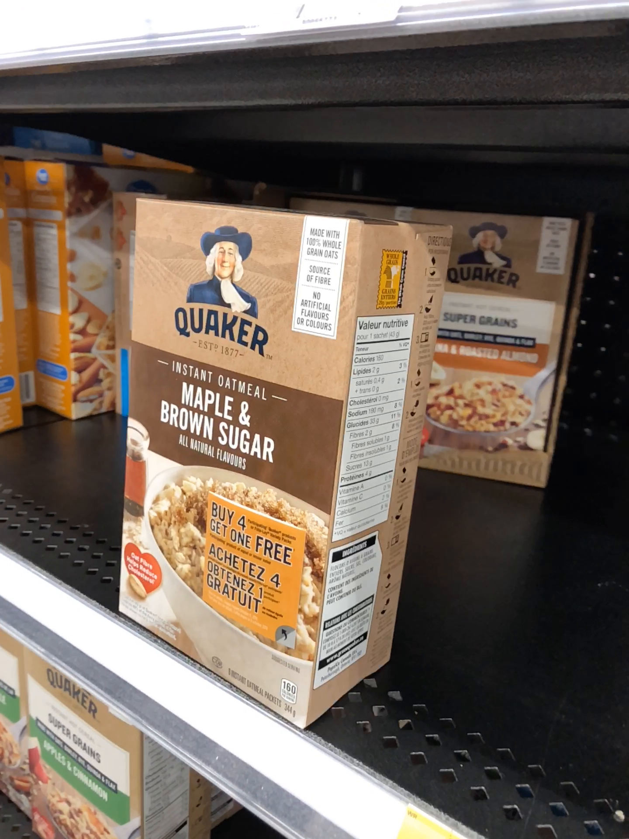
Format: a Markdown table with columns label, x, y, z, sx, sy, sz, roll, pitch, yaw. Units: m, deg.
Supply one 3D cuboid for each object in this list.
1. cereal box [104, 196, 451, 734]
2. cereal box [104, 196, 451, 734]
| label | x | y | z | sx | sy | sz | roll | pitch | yaw |
| --- | --- | --- | --- | --- | --- | --- | --- | --- | --- |
| cereal box | -0.026 | 0.008 | 0.302 | 0.130 | 0.189 | 0.060 | 17 | 20 | 36 |
| cereal box | -0.026 | 0.008 | 0.302 | 0.130 | 0.189 | 0.060 | 17 | 20 | 36 |
